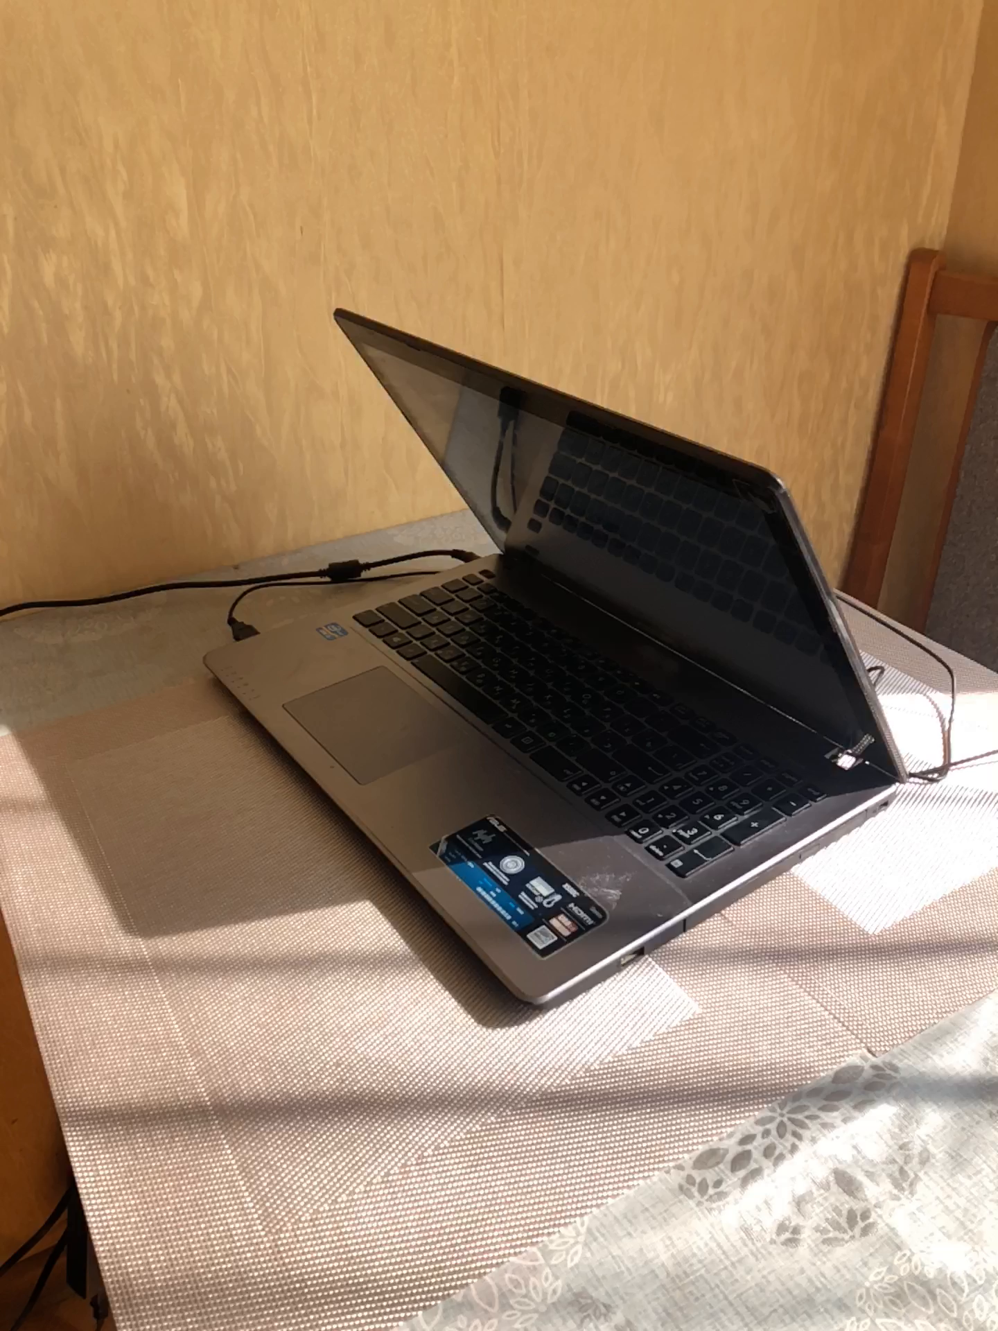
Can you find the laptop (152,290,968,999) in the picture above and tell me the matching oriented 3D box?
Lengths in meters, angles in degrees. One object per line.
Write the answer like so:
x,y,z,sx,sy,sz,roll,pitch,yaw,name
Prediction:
0.006,-0.055,0.608,0.240,0.197,0.365,-22,36,-28,laptop
